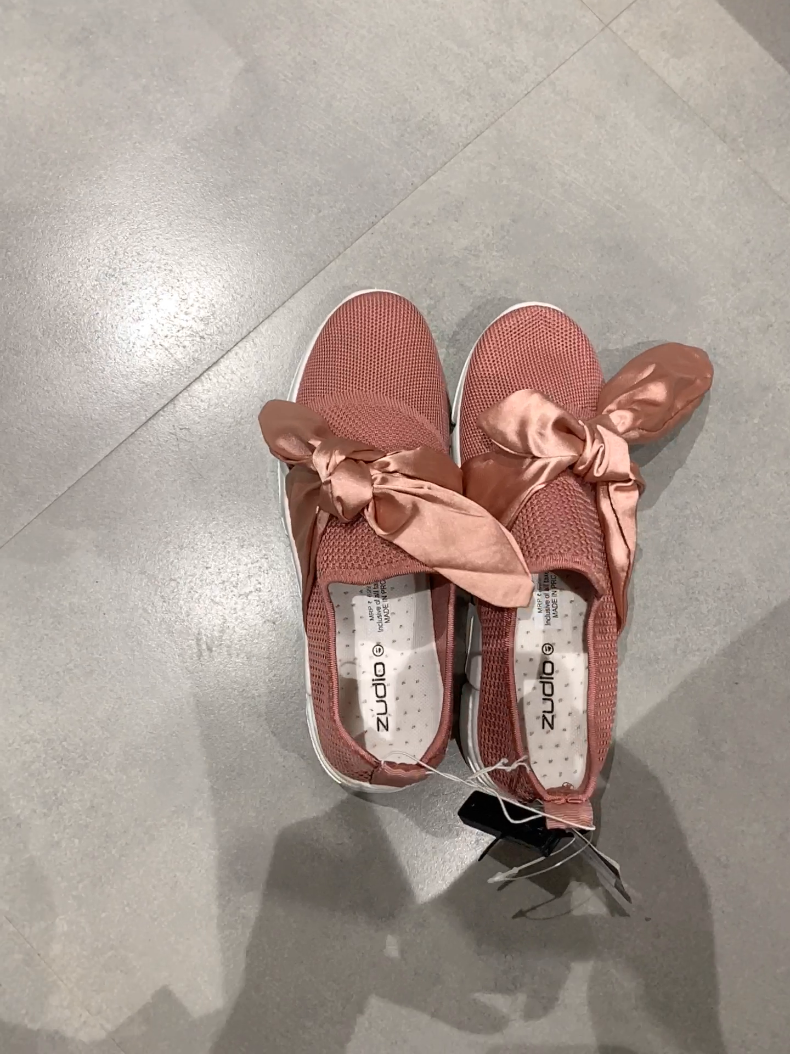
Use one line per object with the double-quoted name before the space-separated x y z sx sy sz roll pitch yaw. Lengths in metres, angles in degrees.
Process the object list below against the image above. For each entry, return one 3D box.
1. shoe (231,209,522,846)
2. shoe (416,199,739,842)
"shoe" -0.012 -0.001 0.398 0.110 0.100 0.270 -3 84 -3
"shoe" 0.077 -0.004 0.394 0.110 0.100 0.270 -3 84 -3
